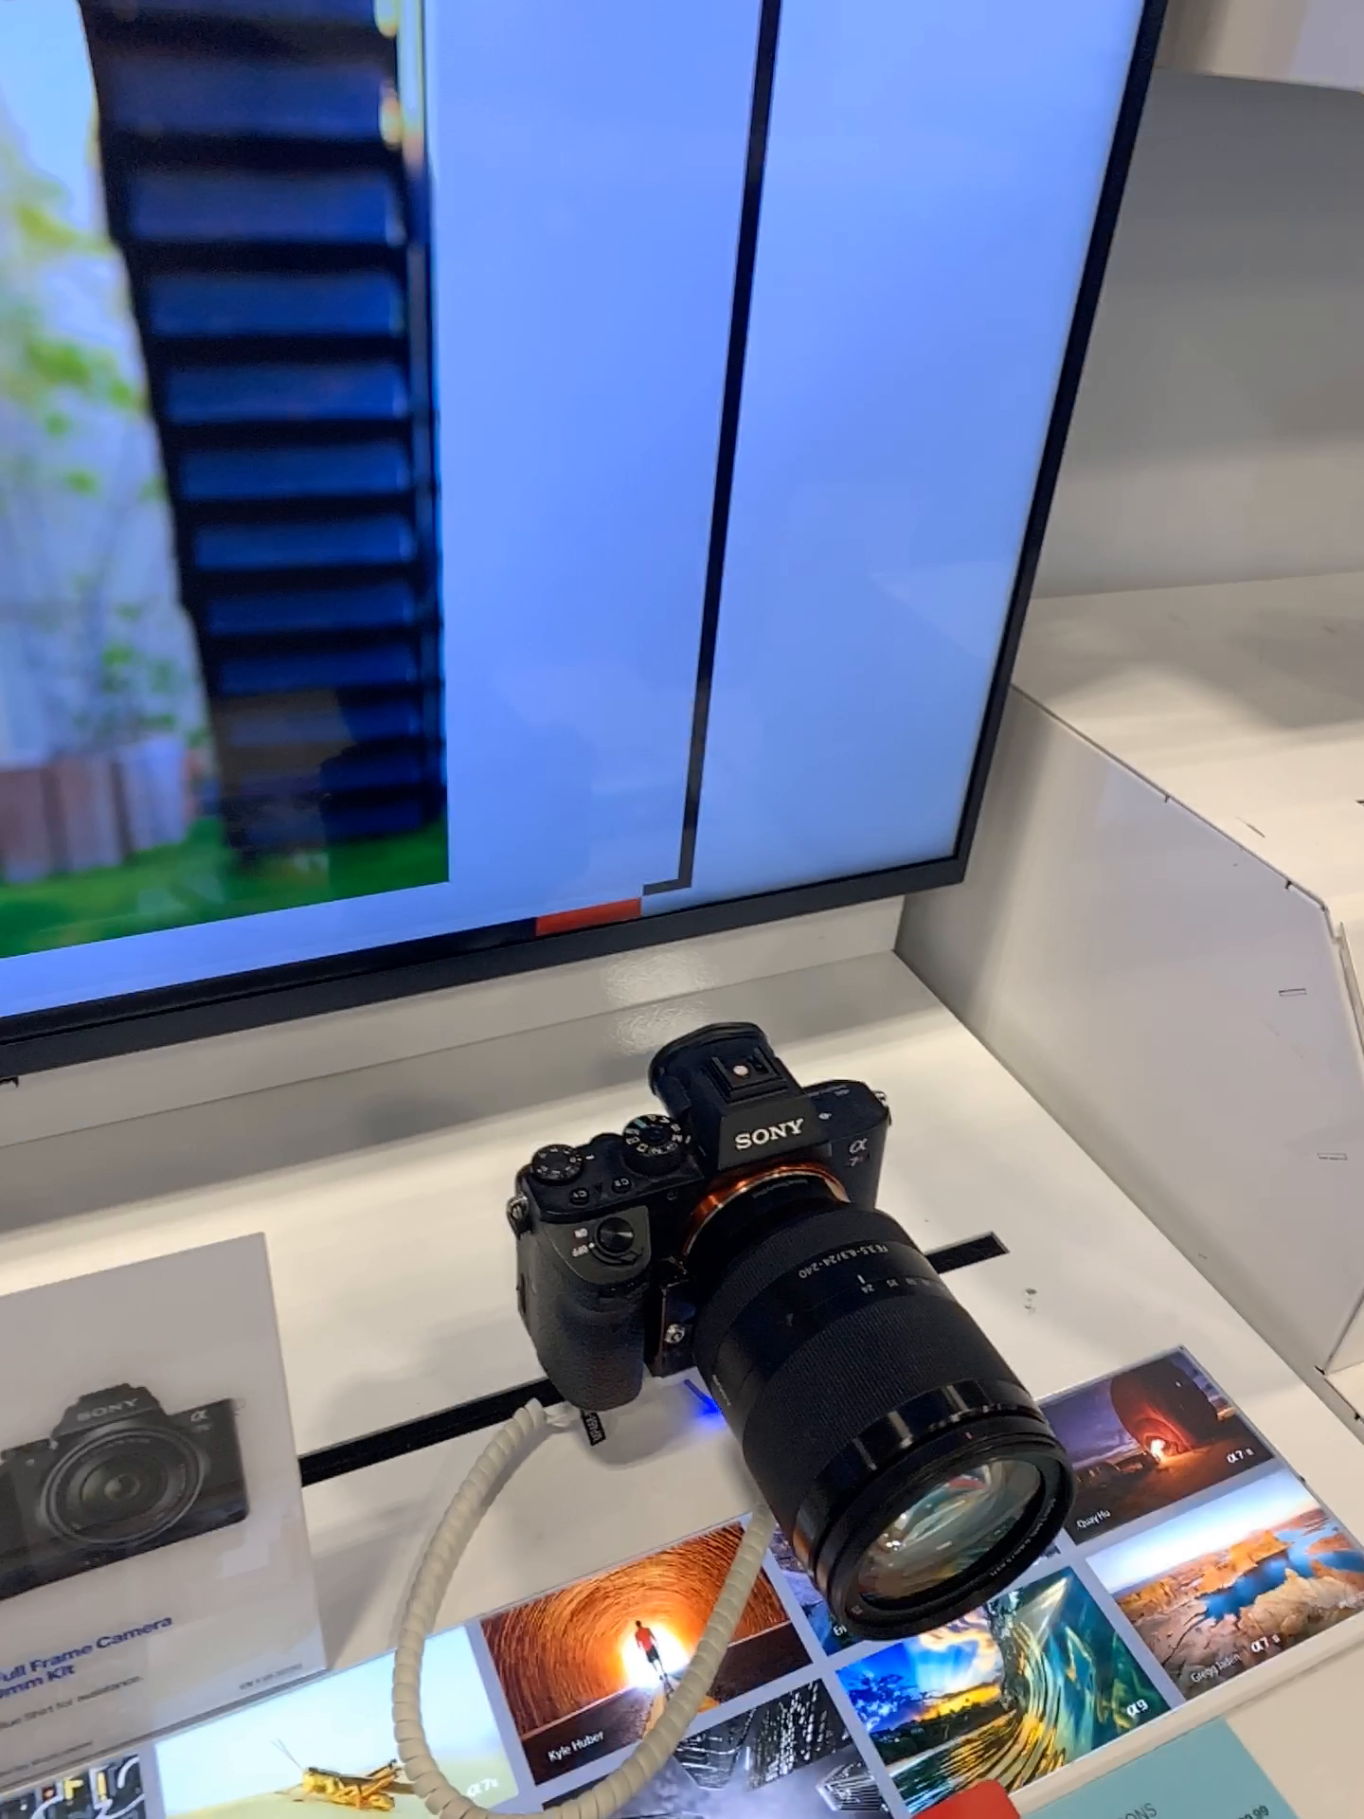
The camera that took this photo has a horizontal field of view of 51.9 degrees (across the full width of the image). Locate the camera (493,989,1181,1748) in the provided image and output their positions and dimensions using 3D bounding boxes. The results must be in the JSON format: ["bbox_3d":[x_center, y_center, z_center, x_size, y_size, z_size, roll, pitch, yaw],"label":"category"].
[{"bbox_3d":[0.035,0.133,0.459,0.140,0.099,0.181,-12,37,-23],"label":"camera"}]
